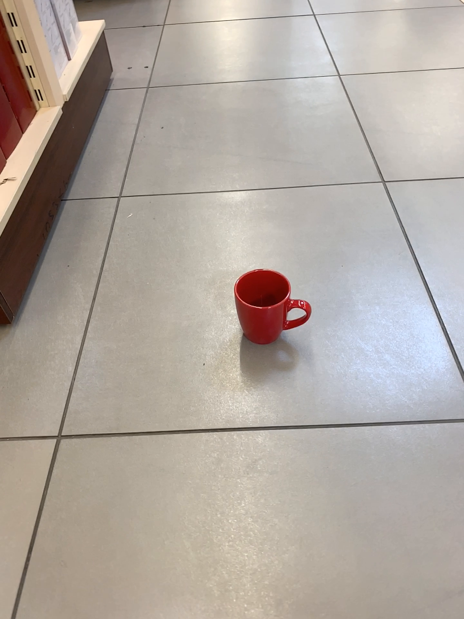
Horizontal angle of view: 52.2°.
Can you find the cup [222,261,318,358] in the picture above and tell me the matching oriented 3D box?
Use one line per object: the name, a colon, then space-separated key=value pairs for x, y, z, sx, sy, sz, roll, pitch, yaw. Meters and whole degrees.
cup: x=0.060 y=-0.002 z=0.732 sx=0.120 sy=0.090 sz=0.090 roll=12 pitch=49 yaw=16
